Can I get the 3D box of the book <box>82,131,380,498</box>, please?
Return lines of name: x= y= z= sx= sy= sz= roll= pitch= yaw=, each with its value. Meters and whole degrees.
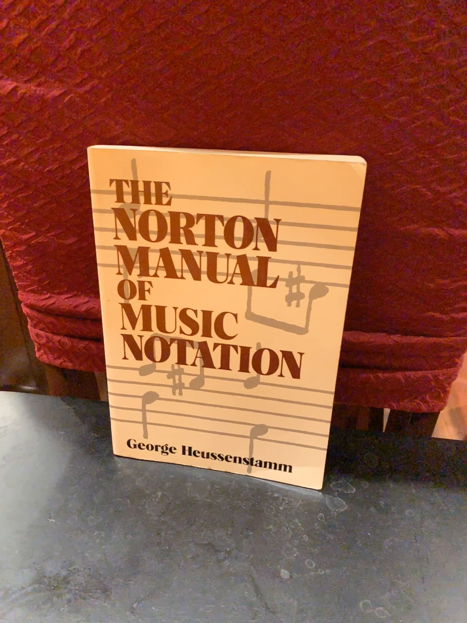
book: x=-0.007 y=0.012 z=0.351 sx=0.180 sy=0.259 sz=0.030 roll=6 pitch=24 yaw=9
